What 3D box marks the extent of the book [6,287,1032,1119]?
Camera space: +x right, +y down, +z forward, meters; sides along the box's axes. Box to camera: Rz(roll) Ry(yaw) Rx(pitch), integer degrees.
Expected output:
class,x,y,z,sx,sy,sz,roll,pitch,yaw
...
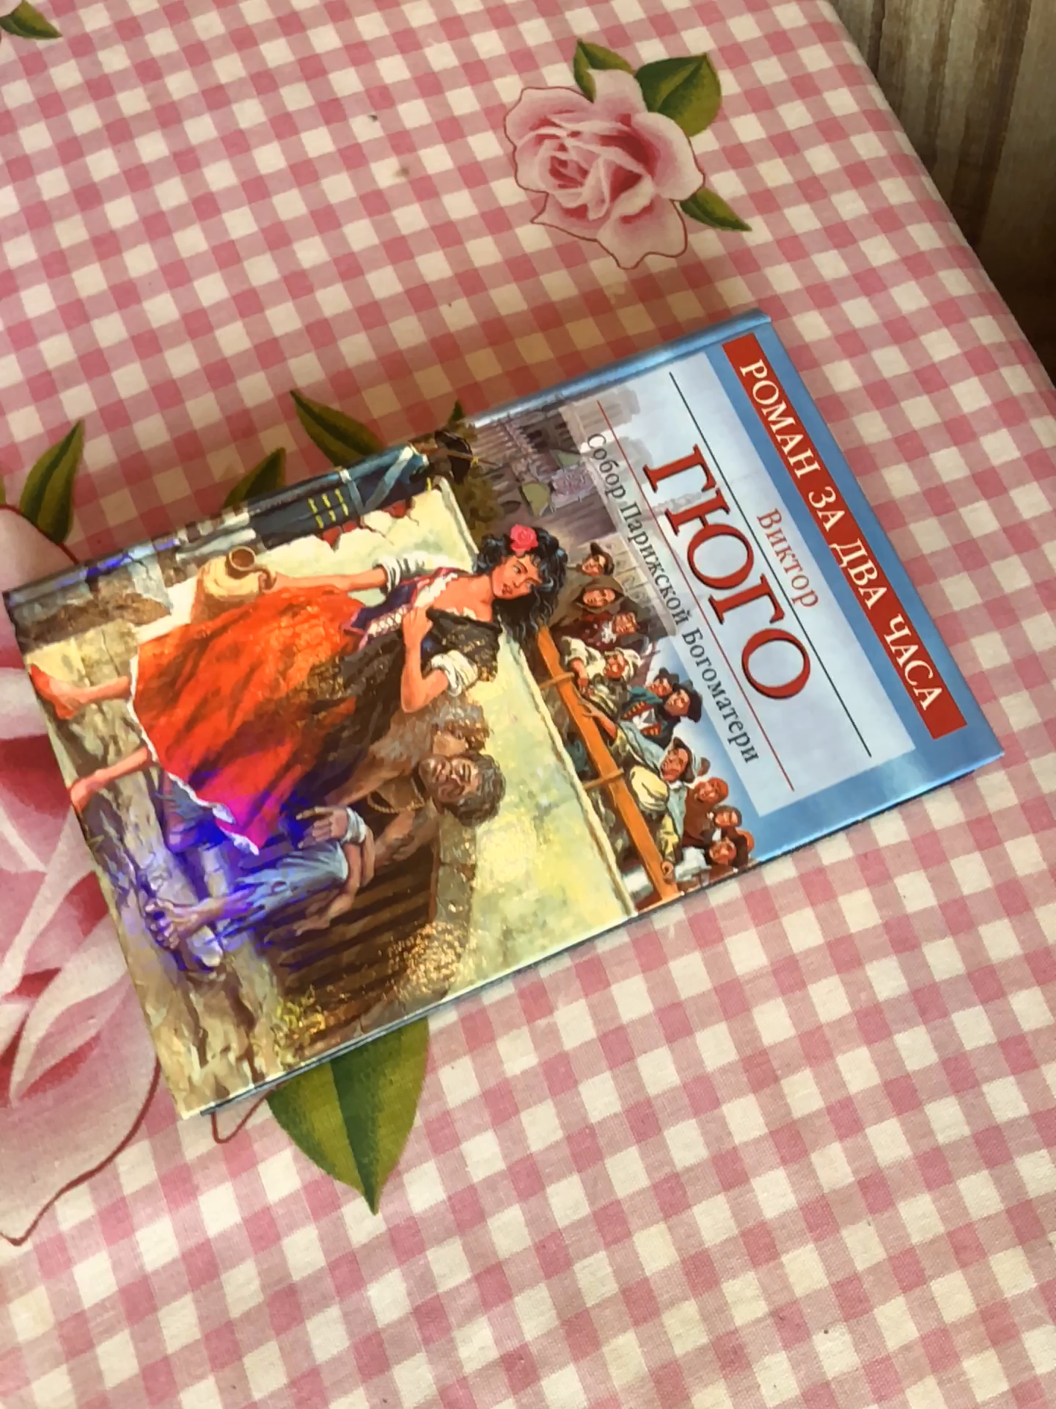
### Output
class,x,y,z,sx,sy,sz,roll,pitch,yaw
book,-0.003,-0.007,0.292,0.207,0.028,0.136,-22,76,-8
